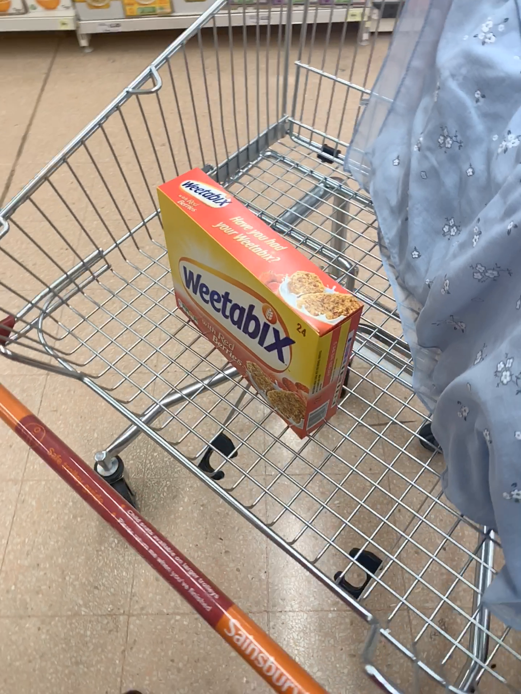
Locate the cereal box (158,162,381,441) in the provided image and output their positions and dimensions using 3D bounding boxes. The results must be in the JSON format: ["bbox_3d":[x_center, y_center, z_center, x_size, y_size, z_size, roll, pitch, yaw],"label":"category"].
[{"bbox_3d":[-0.004,-0.048,0.585,0.060,0.189,0.261,-33,62,-23],"label":"cereal box"}]
